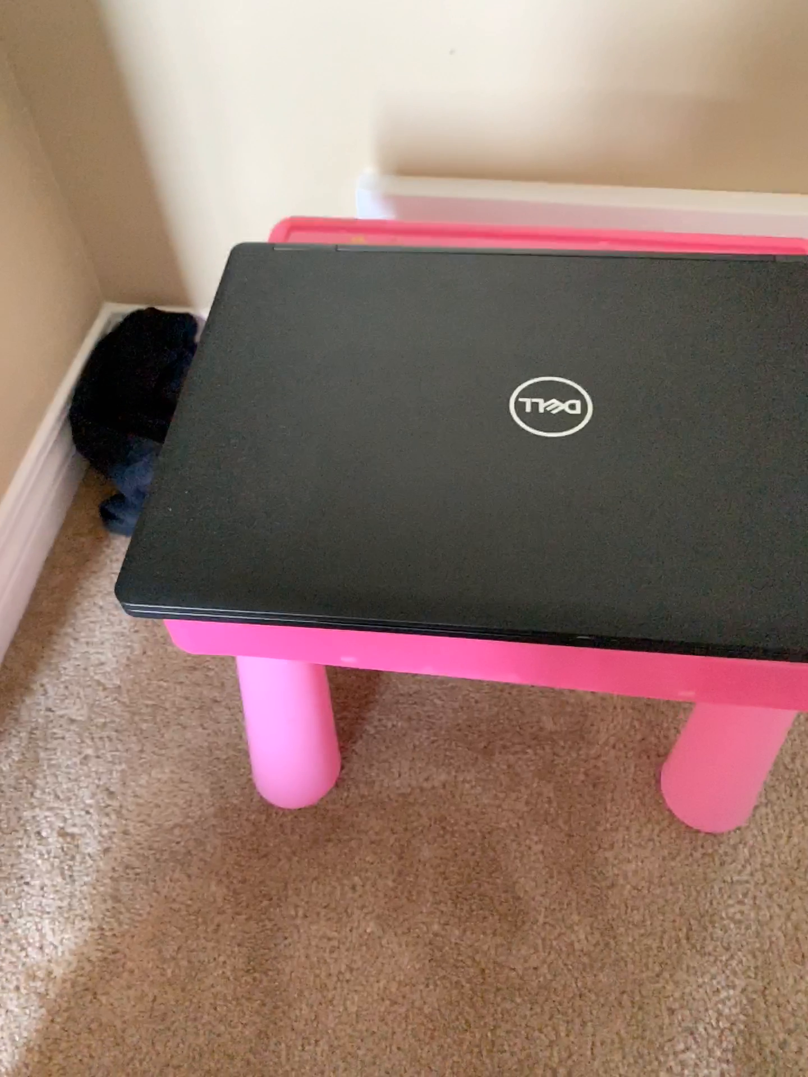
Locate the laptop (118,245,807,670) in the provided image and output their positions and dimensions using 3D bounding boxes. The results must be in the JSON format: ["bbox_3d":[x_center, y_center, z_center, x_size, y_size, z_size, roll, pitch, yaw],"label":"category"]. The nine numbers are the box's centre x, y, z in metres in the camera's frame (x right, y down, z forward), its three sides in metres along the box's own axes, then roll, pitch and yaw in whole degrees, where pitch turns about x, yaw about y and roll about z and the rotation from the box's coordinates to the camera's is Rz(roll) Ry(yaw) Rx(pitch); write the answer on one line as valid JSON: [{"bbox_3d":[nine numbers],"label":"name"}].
[{"bbox_3d":[0.071,-0.061,0.405,0.366,0.005,0.241,3,56,6],"label":"laptop"}]
